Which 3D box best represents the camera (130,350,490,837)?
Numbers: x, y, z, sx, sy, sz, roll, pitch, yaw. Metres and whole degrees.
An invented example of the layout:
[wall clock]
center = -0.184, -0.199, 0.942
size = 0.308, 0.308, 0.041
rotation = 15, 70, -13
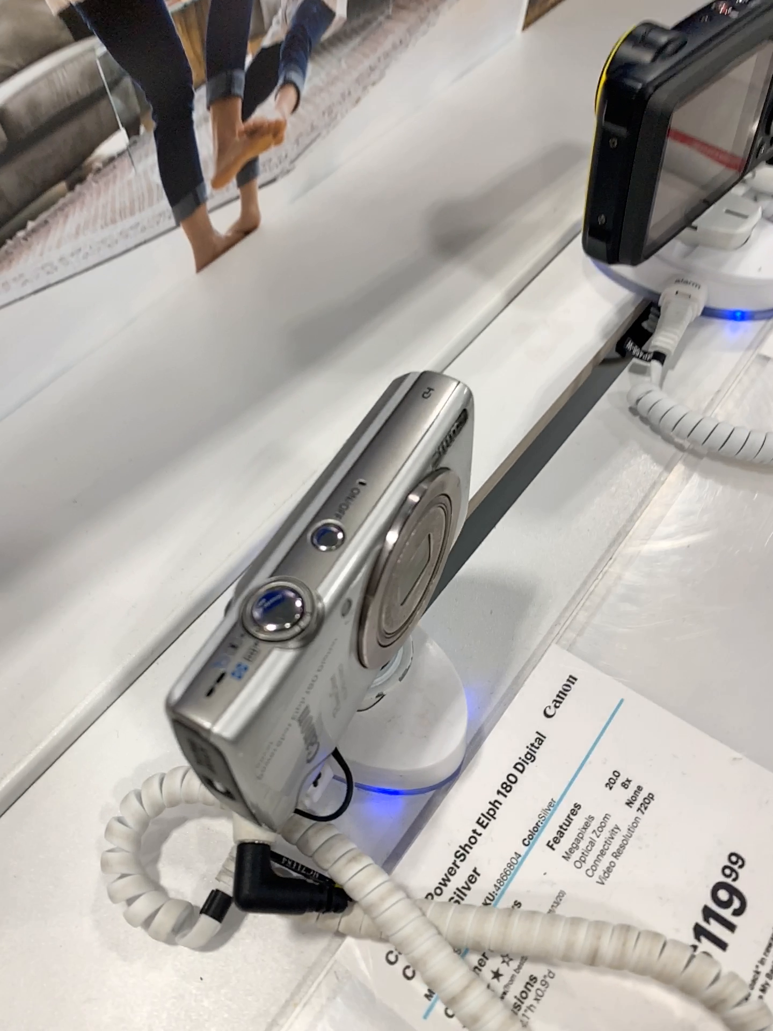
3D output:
[camera]
center = -0.011, 0.015, 0.180
size = 0.022, 0.051, 0.098
rotation = 25, 59, 15
